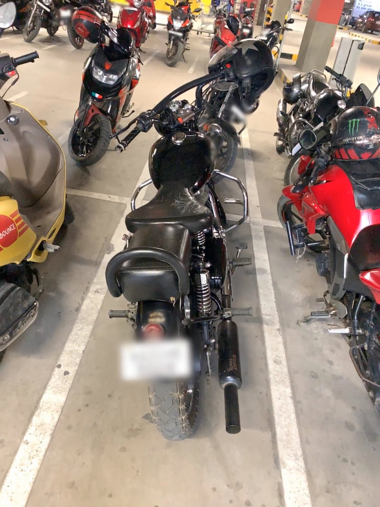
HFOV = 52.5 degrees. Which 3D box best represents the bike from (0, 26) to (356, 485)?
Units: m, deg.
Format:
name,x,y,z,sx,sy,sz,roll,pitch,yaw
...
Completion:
name,x,y,z,sx,sy,sz,roll,pitch,yaw
bike,-0.221,-0.260,1.956,0.798,1.303,2.032,5,34,-7
